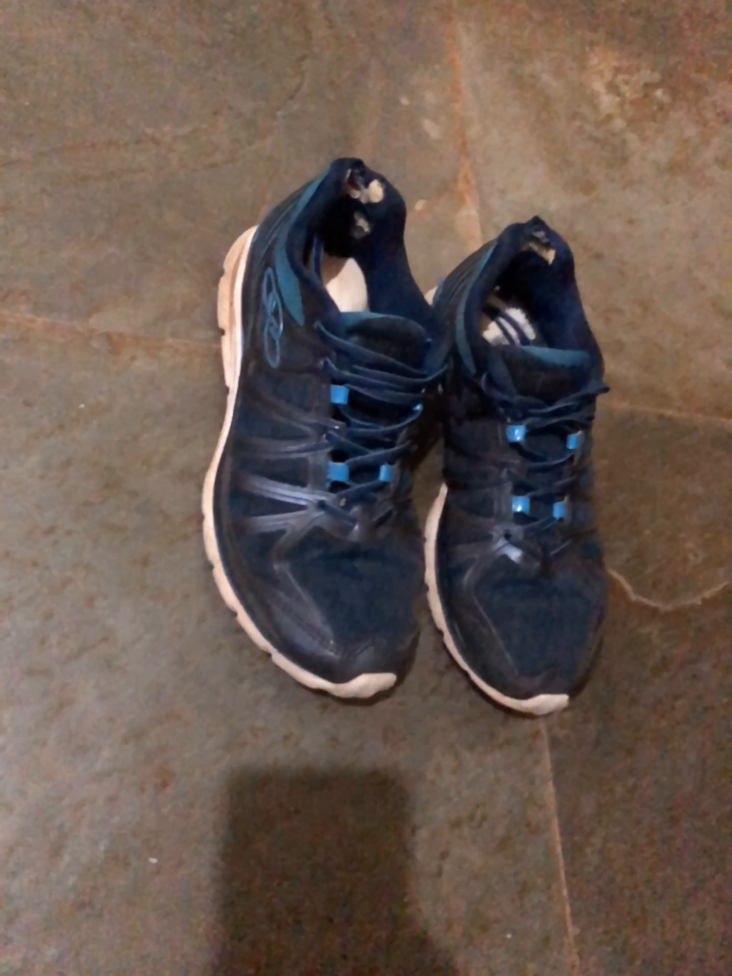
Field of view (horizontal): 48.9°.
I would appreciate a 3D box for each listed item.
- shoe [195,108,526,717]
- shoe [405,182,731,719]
[{"bbox_3d":[-0.018,-0.034,0.419,0.120,0.109,0.281,4,68,-23],"label":"shoe"},{"bbox_3d":[0.110,-0.017,0.470,0.120,0.109,0.281,6,67,-22],"label":"shoe"}]
